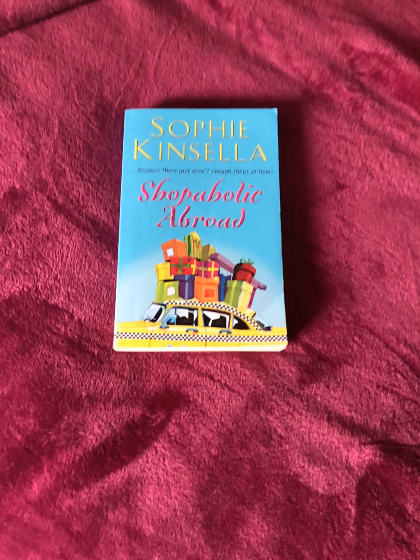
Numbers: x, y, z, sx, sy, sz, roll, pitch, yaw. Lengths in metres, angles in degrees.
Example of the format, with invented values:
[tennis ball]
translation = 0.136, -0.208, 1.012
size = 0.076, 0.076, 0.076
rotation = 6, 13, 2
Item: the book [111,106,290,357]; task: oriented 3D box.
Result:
[book]
translation = -0.007, -0.041, 0.373
size = 0.129, 0.035, 0.200
rotation = 0, 77, -1
